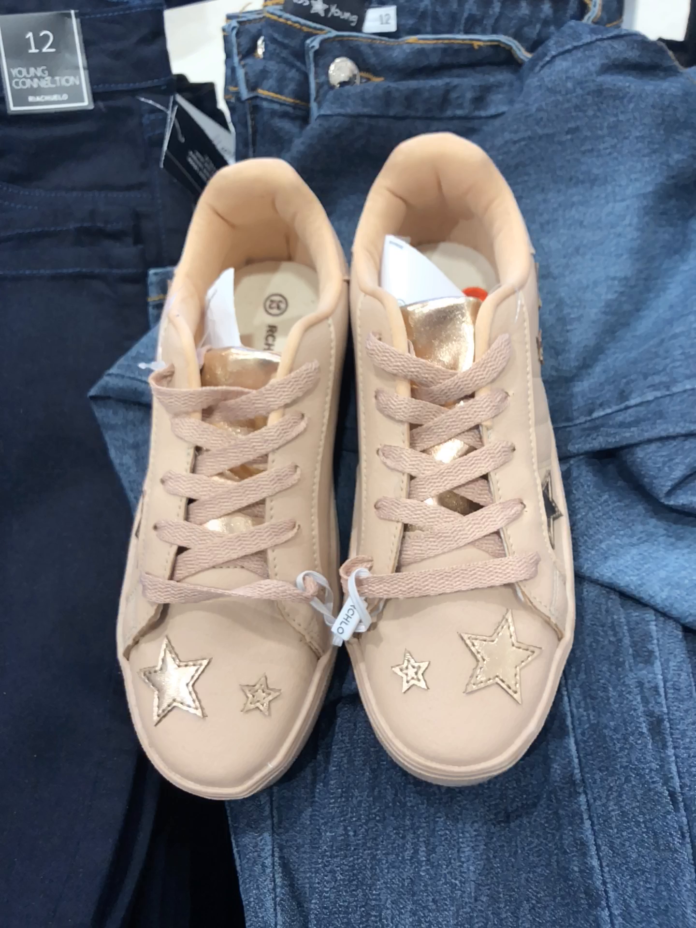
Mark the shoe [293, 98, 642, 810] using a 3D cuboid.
[{"bbox_3d":[0.035,-0.008,0.297,0.090,0.090,0.251,-5,64,8],"label":"shoe"}]

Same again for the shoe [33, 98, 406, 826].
[{"bbox_3d":[-0.032,-0.005,0.303,0.090,0.090,0.251,0,71,11],"label":"shoe"}]
